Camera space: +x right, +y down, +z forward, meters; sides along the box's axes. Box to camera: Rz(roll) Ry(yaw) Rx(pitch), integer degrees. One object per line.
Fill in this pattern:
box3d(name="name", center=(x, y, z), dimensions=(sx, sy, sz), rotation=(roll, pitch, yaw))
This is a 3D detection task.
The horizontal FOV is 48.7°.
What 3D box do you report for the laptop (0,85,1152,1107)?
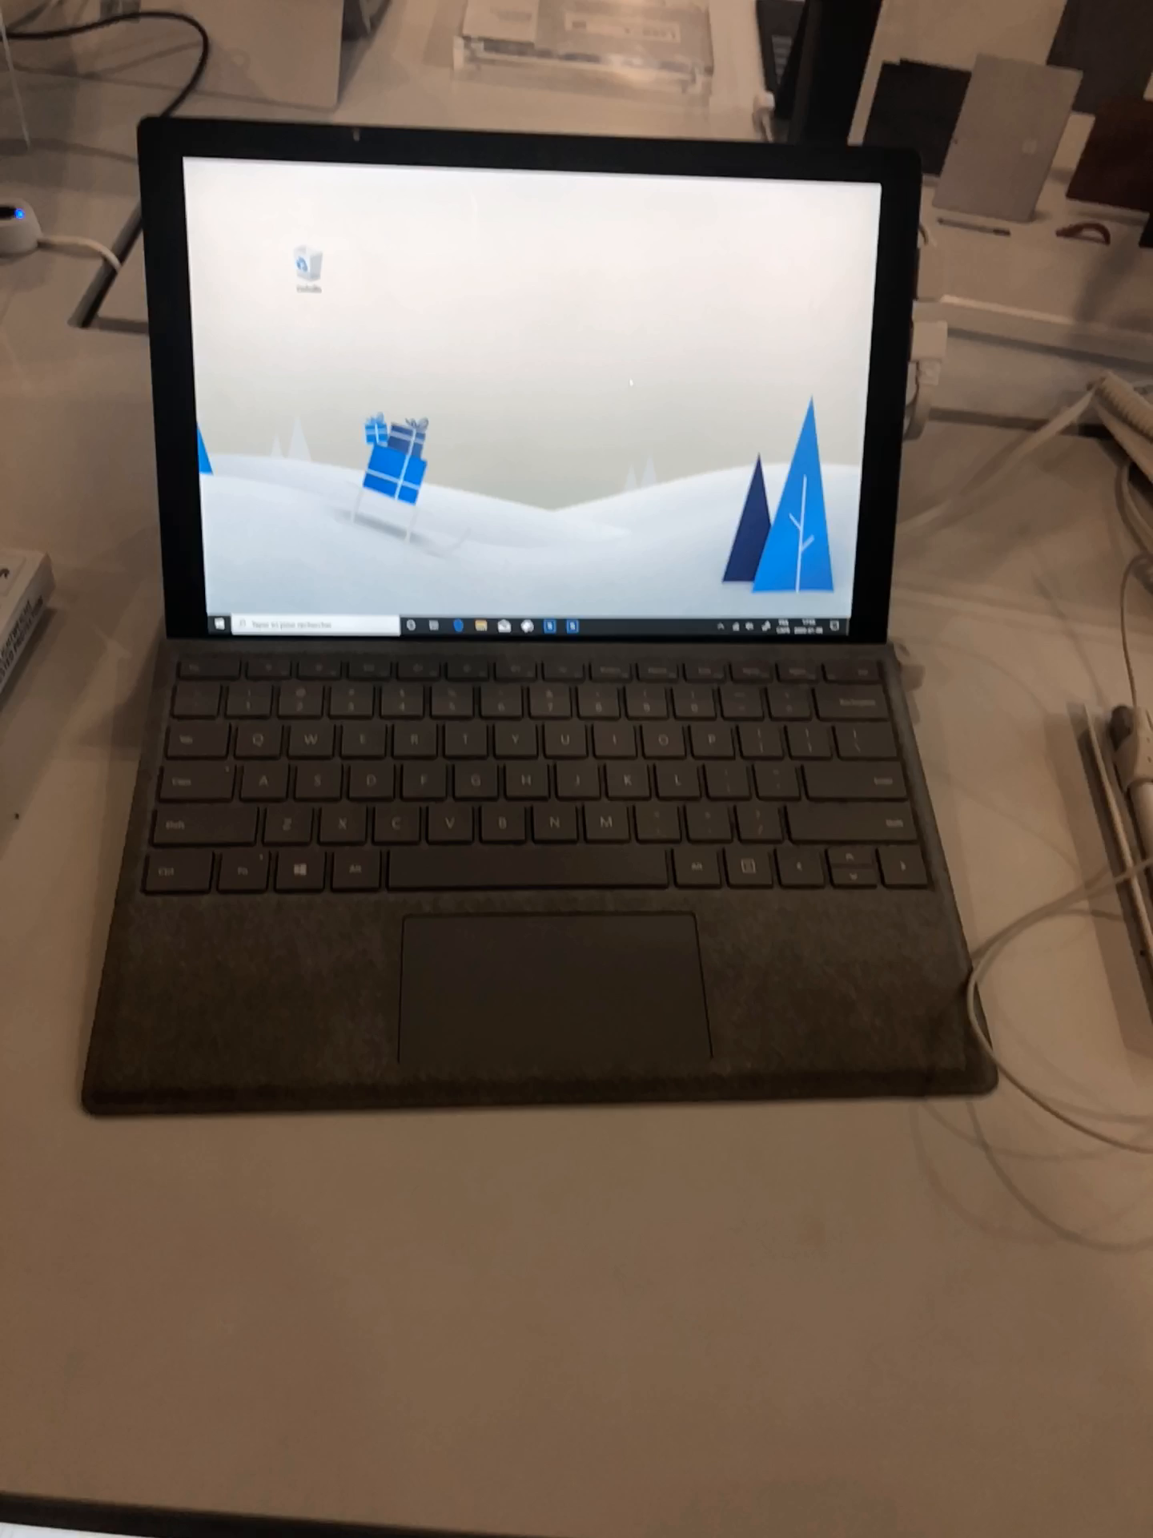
box3d(name="laptop", center=(-0.009, -0.069, 0.438), dimensions=(0.285, 0.150, 0.308), rotation=(0, 53, -7))
